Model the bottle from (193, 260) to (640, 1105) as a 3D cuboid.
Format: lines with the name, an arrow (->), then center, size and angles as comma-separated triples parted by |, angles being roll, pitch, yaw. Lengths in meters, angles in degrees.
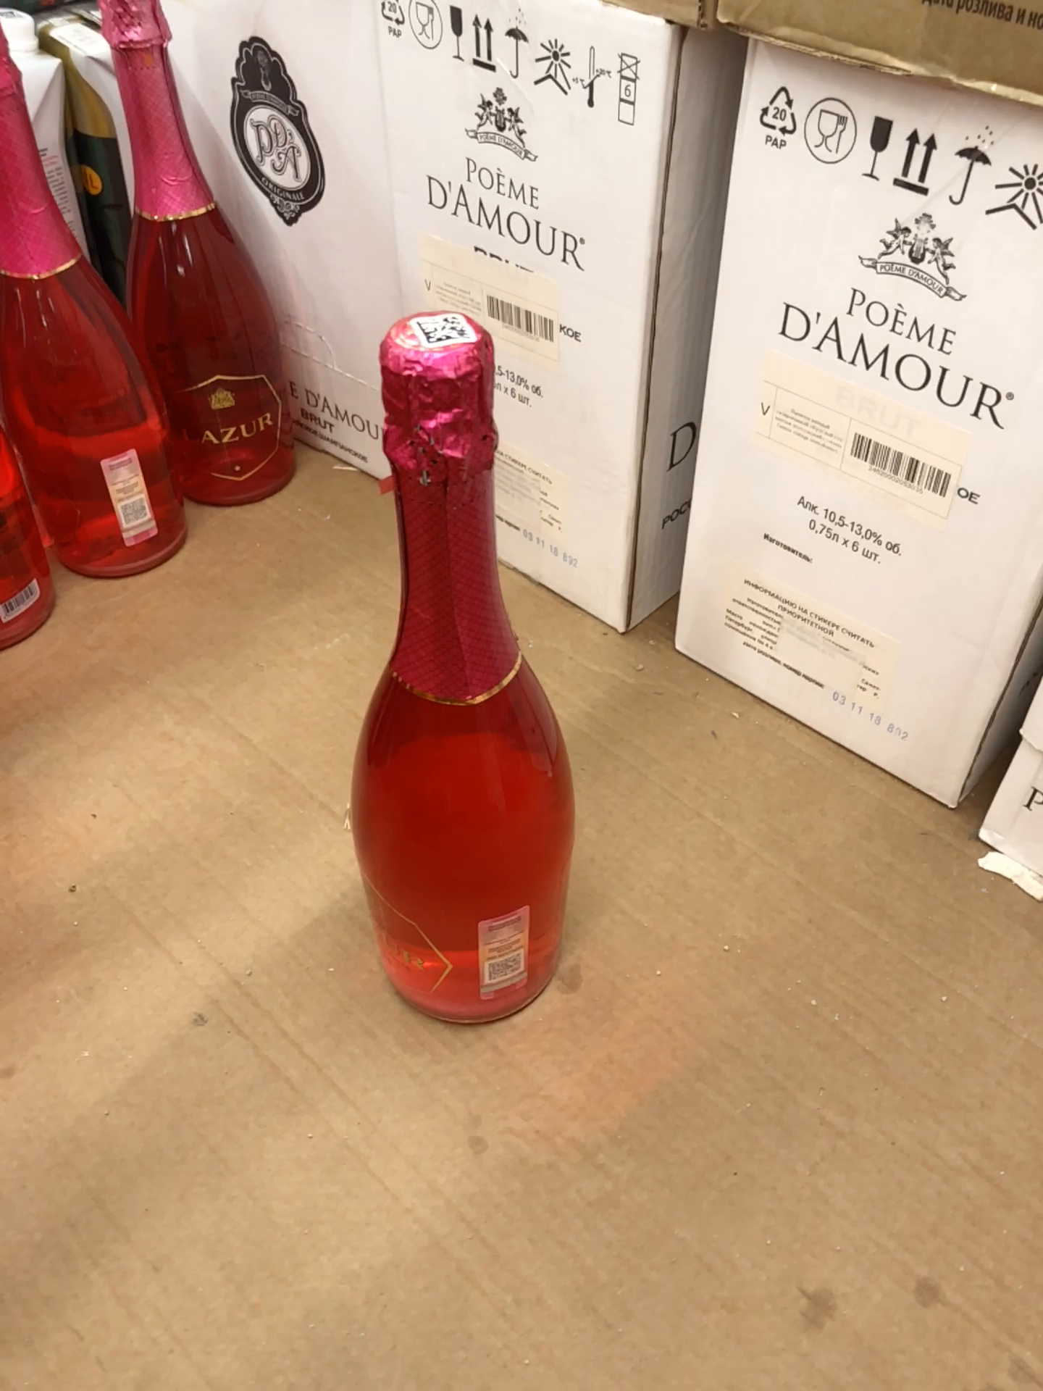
bottle -> -0.032, 0.022, 0.423 | 0.090, 0.320, 0.090 | 0, 46, 0
